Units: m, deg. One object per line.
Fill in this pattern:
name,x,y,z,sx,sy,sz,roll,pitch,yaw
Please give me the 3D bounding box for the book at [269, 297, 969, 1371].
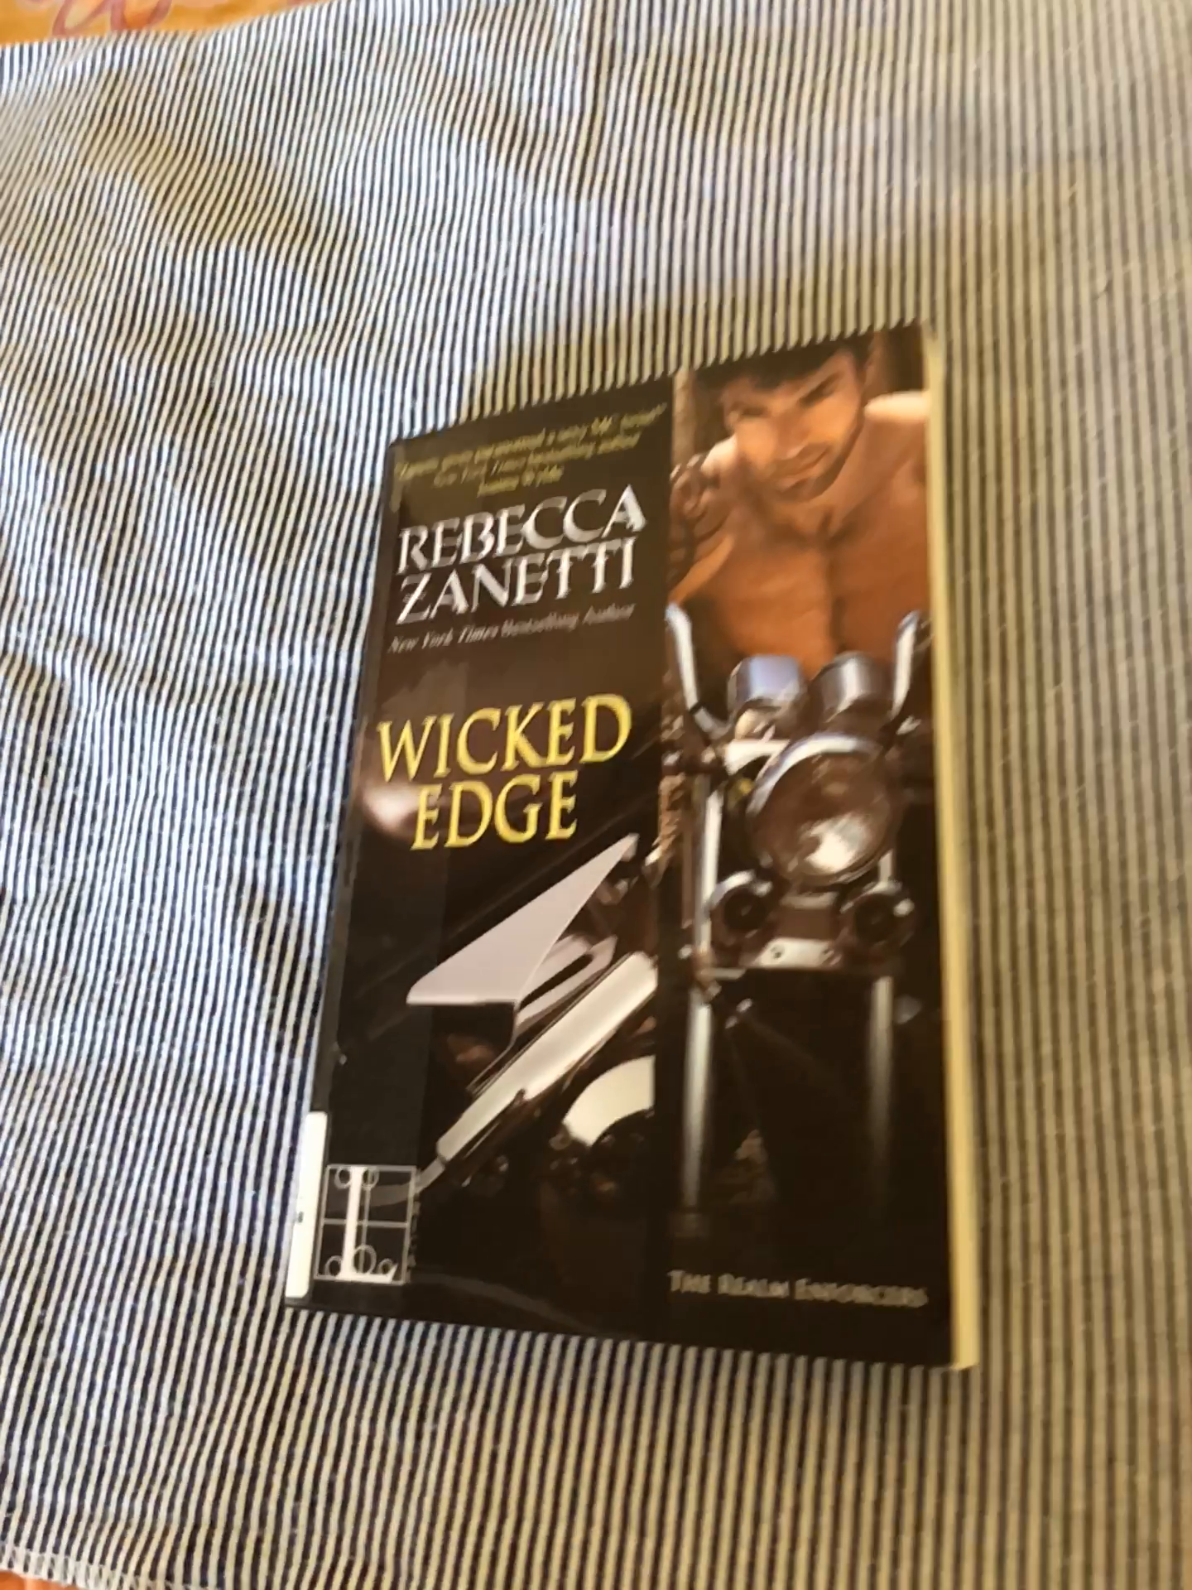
book,0.007,0.003,0.293,0.137,0.030,0.215,-4,71,23
